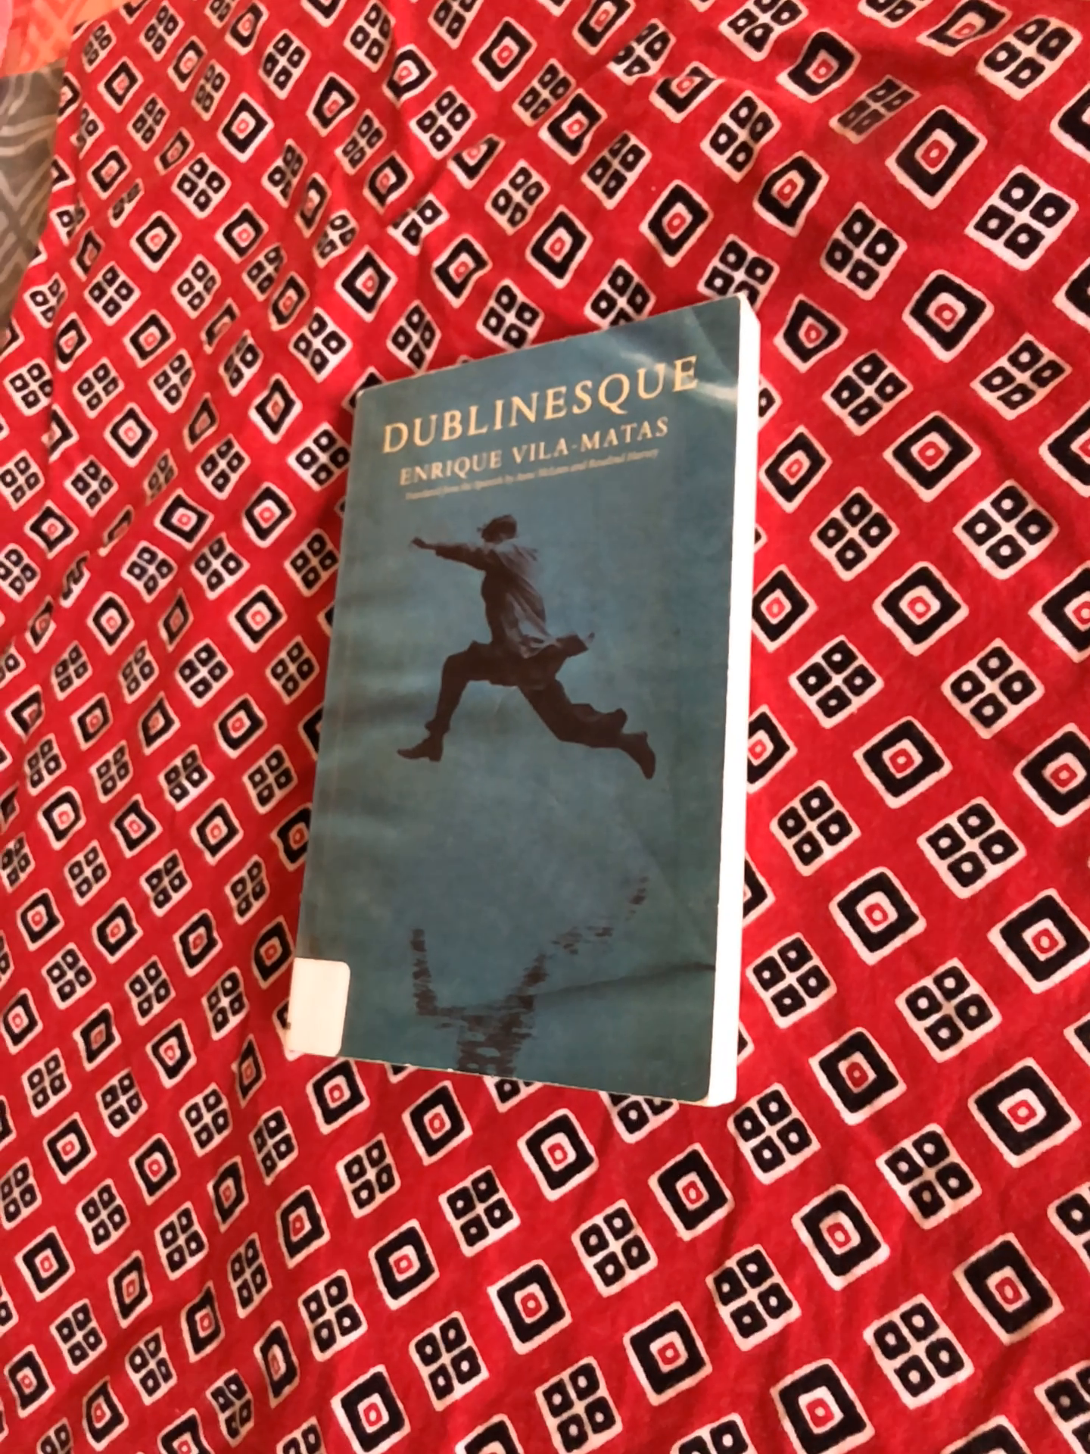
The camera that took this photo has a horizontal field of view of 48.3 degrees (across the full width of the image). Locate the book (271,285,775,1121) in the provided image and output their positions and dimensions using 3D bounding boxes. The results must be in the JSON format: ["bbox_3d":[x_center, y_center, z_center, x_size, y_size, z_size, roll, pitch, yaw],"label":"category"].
[{"bbox_3d":[-0.009,-0.007,0.335,0.138,0.020,0.203,-3,79,33],"label":"book"}]
